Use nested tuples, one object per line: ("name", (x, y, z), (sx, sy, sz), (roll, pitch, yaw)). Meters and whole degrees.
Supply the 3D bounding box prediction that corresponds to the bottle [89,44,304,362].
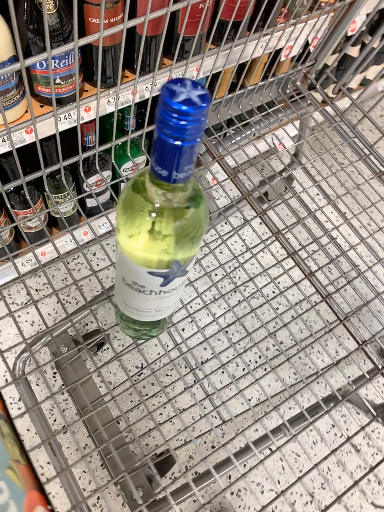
("bottle", (-0.027, -0.003, 0.359), (0.090, 0.338, 0.090), (5, 61, -9))
